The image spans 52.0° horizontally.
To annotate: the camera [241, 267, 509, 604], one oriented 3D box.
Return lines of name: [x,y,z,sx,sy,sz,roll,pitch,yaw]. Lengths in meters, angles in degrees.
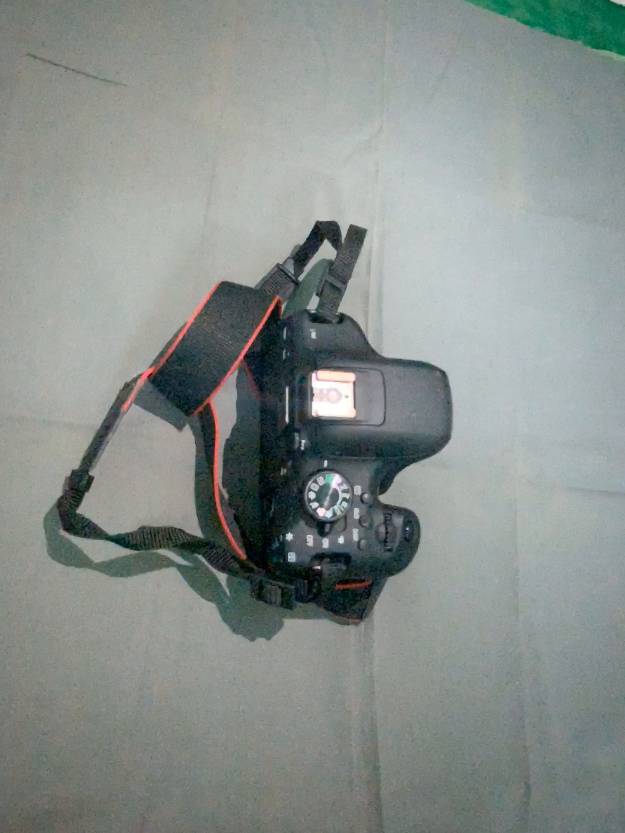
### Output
camera: [0.023,0.018,0.302,0.090,0.088,0.132,7,72,-17]
